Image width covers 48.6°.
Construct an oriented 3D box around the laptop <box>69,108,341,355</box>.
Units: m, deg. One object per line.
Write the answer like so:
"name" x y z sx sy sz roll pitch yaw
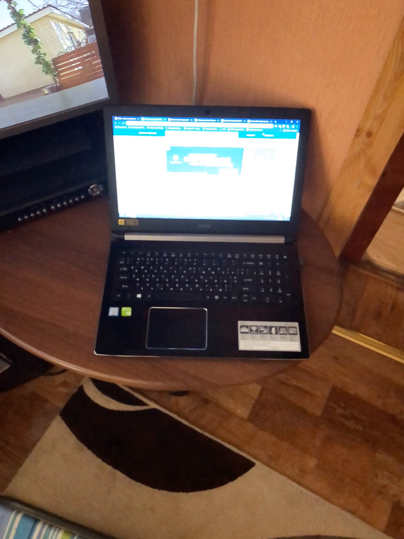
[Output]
"laptop" 0.006 -0.071 0.791 0.372 0.186 0.391 1 60 -1
